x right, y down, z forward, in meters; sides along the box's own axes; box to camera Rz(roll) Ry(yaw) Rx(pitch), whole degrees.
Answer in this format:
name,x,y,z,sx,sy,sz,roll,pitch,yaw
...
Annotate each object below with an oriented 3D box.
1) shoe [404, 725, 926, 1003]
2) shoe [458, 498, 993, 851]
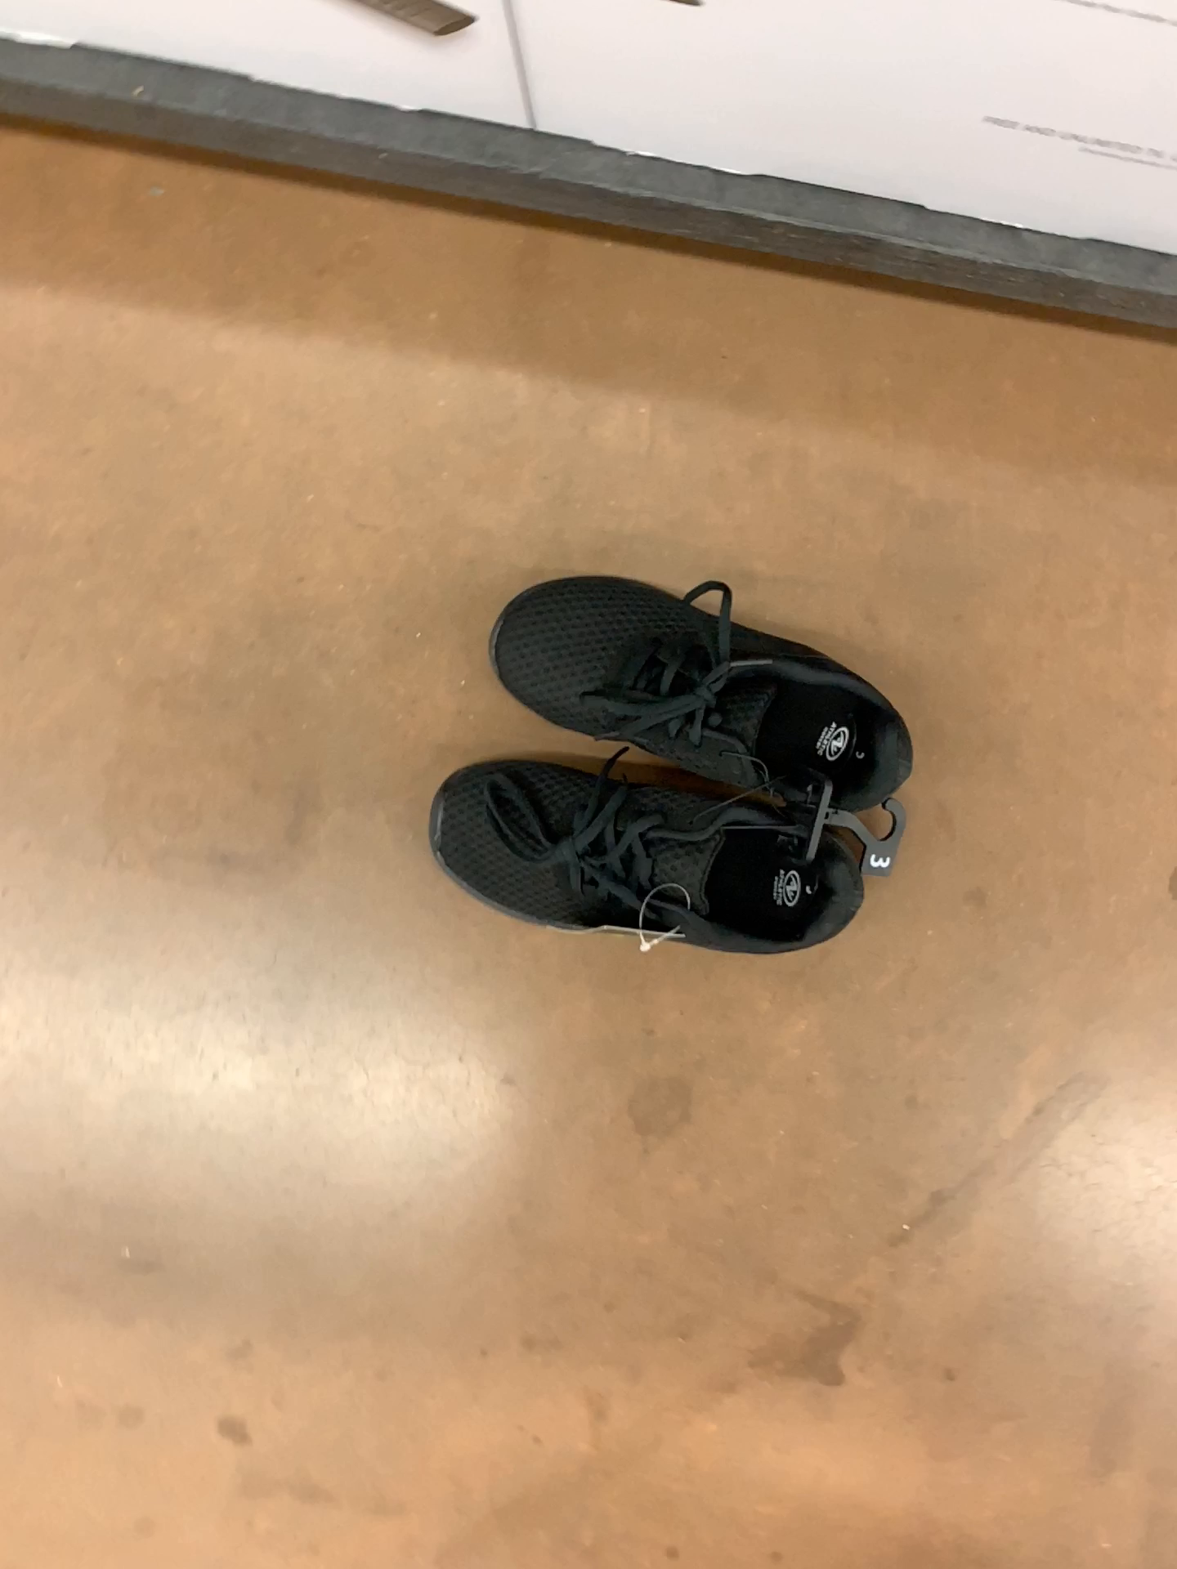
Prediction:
name,x,y,z,sx,sy,sz,roll,pitch,yaw
shoe,0.035,0.037,0.600,0.230,0.080,0.090,10,90,-3
shoe,0.062,-0.050,0.595,0.230,0.080,0.090,19,89,-3
